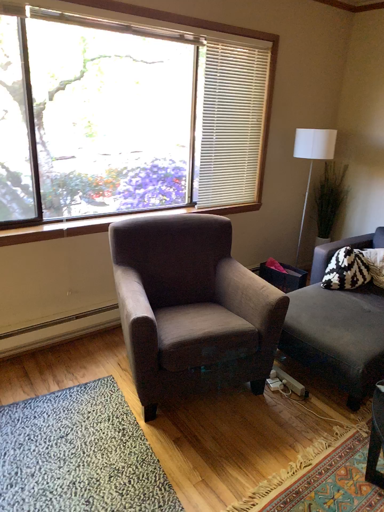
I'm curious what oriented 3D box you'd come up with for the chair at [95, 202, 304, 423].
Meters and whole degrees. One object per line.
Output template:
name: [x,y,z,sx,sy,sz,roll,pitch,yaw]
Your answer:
chair: [-0.022,0.214,2.235,0.880,0.876,0.804,-5,19,-22]
